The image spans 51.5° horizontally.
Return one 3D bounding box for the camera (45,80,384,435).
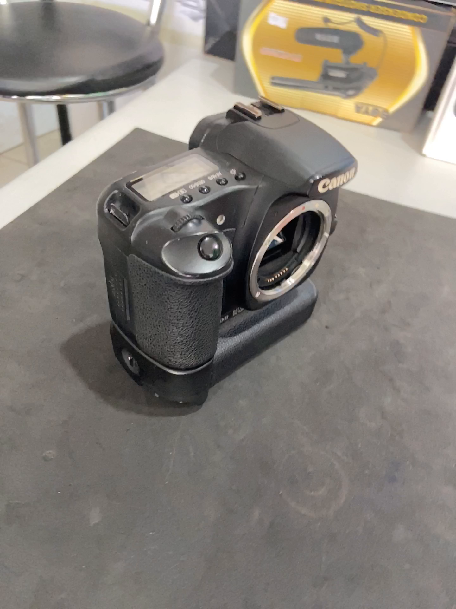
[{"bbox_3d":[-0.006,-0.030,0.269,0.141,0.139,0.080,-29,54,-31],"label":"camera"}]
